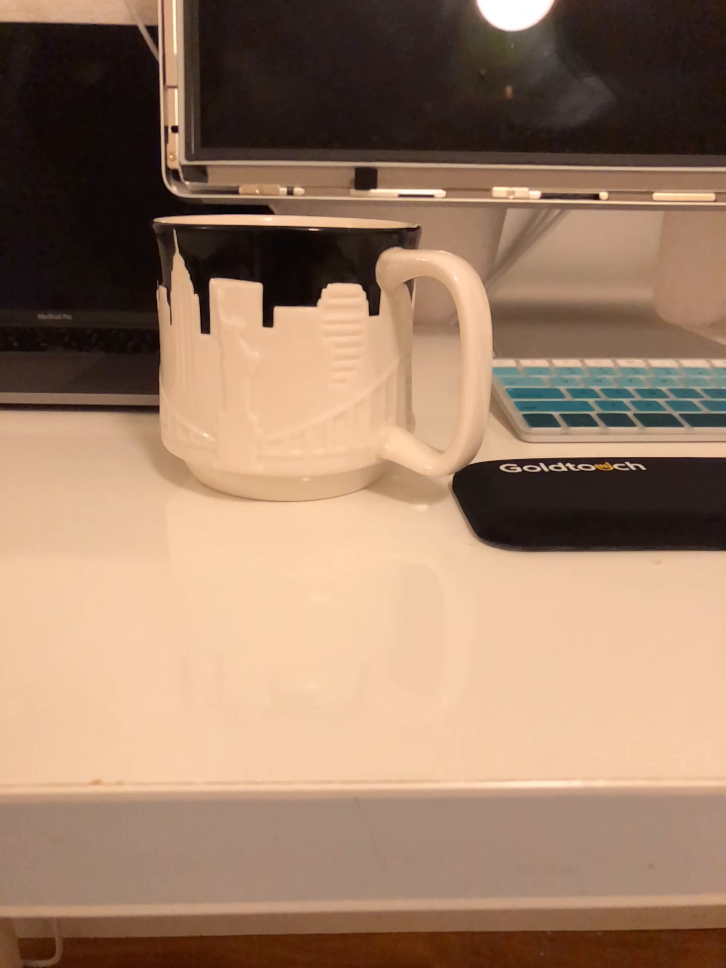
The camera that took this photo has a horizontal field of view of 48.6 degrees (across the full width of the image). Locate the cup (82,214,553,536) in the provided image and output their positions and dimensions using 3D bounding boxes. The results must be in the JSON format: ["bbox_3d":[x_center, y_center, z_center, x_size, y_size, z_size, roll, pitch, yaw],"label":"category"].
[{"bbox_3d":[-0.013,-0.055,0.316,0.140,0.090,0.110,11,23,24],"label":"cup"}]
